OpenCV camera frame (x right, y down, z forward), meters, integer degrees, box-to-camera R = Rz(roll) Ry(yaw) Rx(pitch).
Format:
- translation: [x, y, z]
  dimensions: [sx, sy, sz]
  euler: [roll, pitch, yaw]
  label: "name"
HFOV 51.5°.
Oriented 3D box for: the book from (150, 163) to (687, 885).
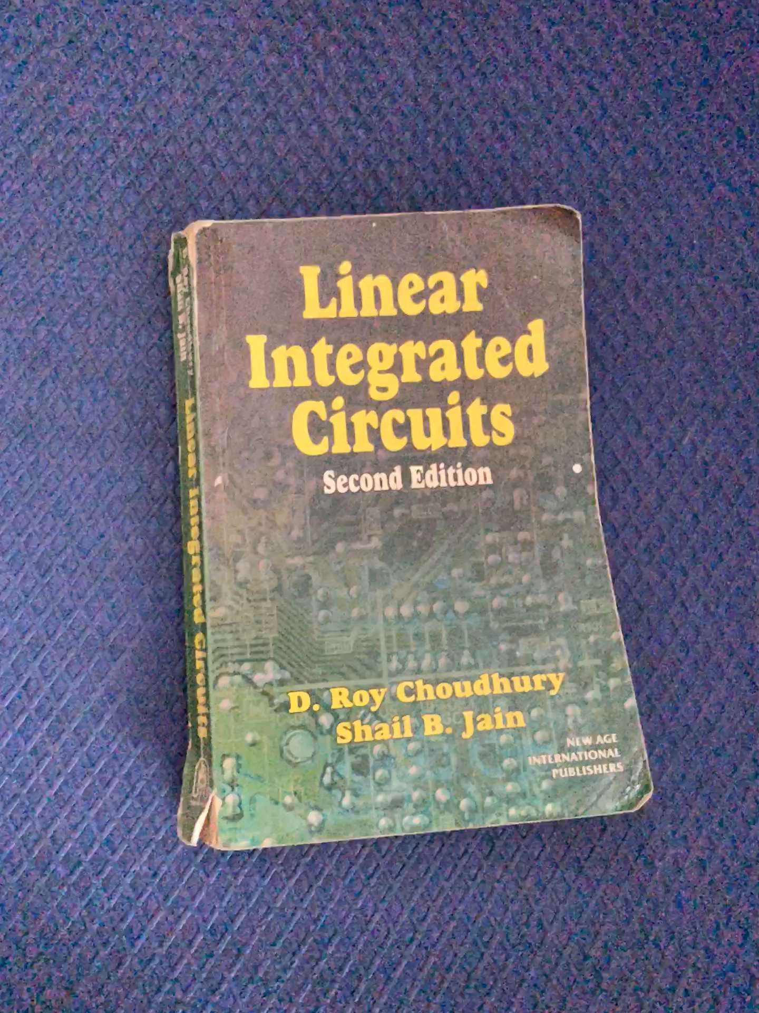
- translation: [0.011, -0.003, 0.324]
  dimensions: [0.190, 0.040, 0.270]
  euler: [-3, 83, -6]
  label: "book"
